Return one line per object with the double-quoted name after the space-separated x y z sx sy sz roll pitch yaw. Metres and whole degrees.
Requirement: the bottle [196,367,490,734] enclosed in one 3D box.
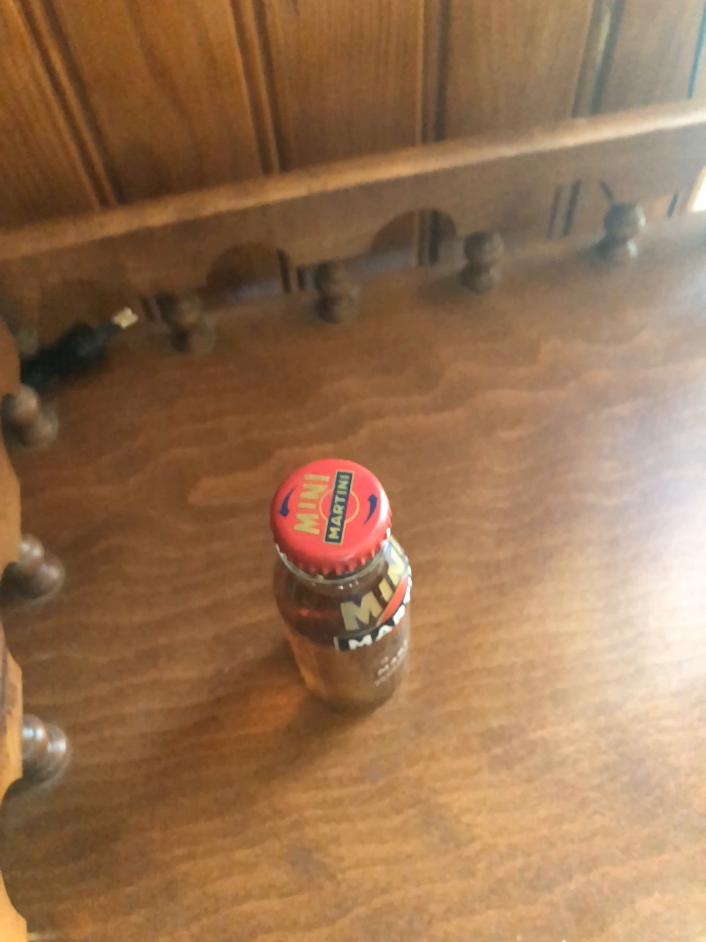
0.001 0.030 0.234 0.050 0.110 0.050 -1 60 2 "bottle"
